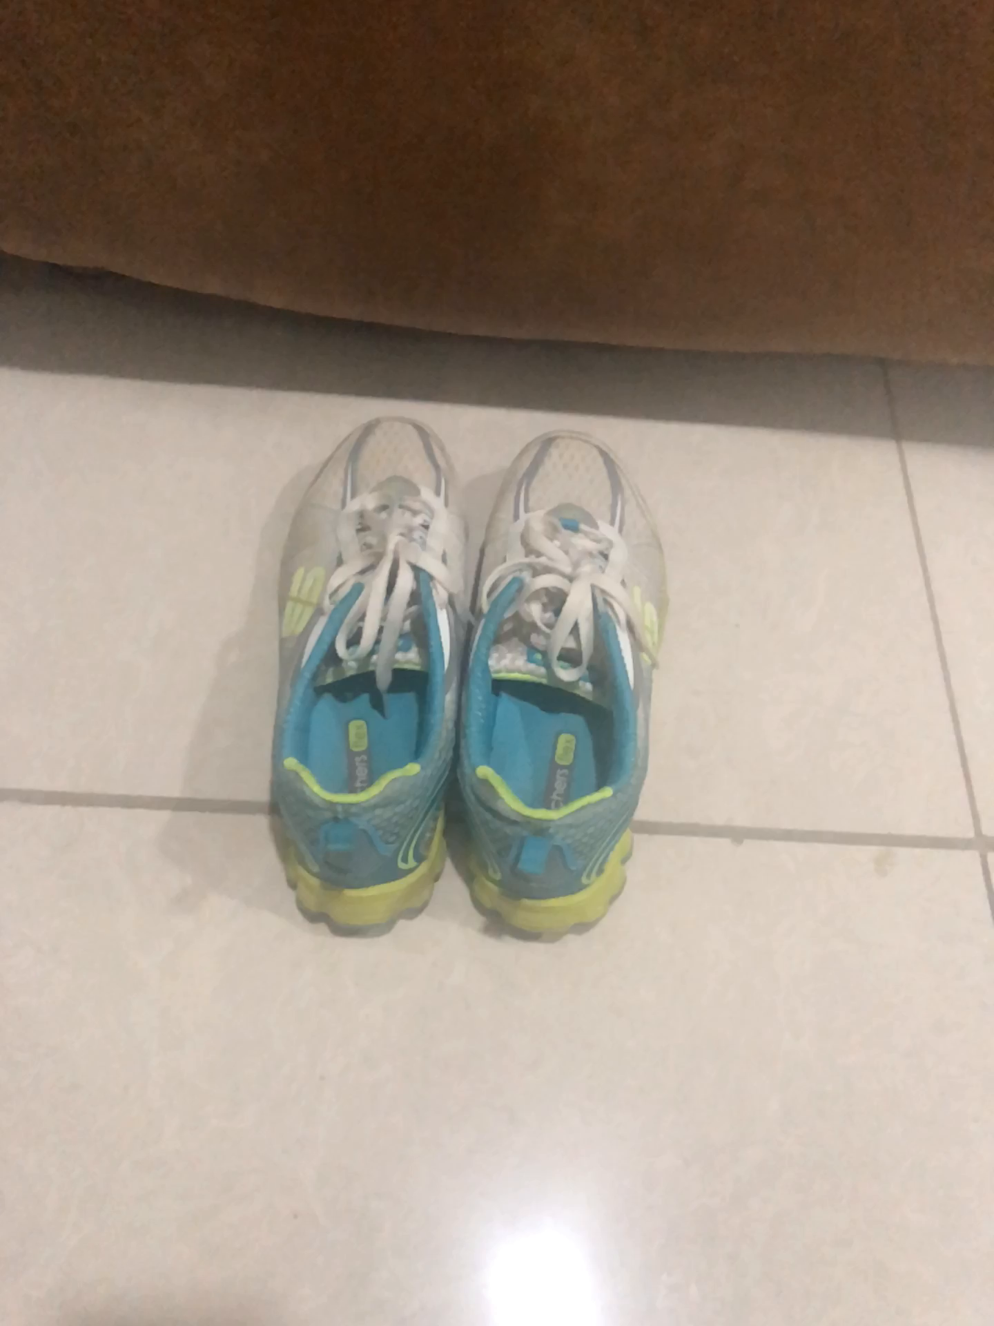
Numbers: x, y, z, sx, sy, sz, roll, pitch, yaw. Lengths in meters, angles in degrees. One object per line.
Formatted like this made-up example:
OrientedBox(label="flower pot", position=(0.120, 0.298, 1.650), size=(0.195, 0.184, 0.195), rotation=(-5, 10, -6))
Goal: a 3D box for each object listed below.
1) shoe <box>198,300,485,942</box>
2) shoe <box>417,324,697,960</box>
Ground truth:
OrientedBox(label="shoe", position=(-0.061, -0.030, 0.535), size=(0.100, 0.100, 0.300), rotation=(2, 59, -2))
OrientedBox(label="shoe", position=(0.034, -0.020, 0.552), size=(0.110, 0.100, 0.300), rotation=(6, 59, 0))
